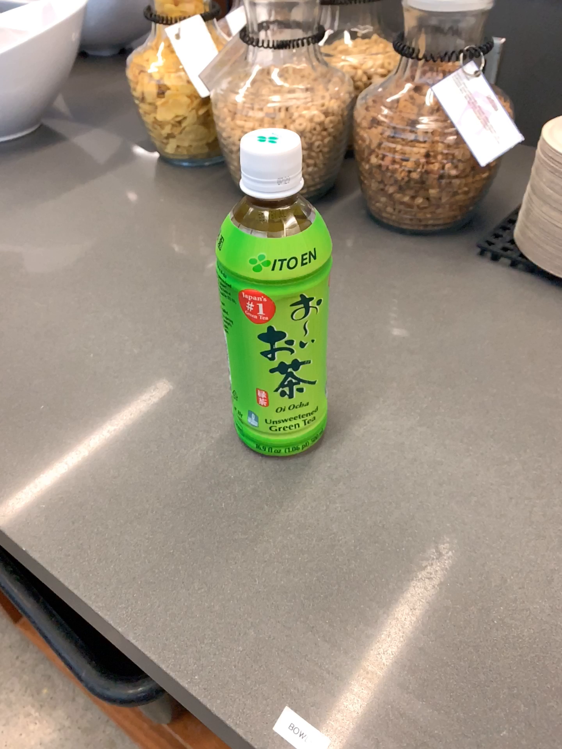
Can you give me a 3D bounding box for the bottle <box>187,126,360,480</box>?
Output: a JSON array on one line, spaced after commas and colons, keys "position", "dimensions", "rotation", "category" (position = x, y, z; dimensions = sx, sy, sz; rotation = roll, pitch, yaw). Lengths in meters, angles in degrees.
[{"position": [-0.004, -0.032, 0.352], "dimensions": [0.070, 0.199, 0.070], "rotation": [-1, 42, 1], "category": "bottle"}]
